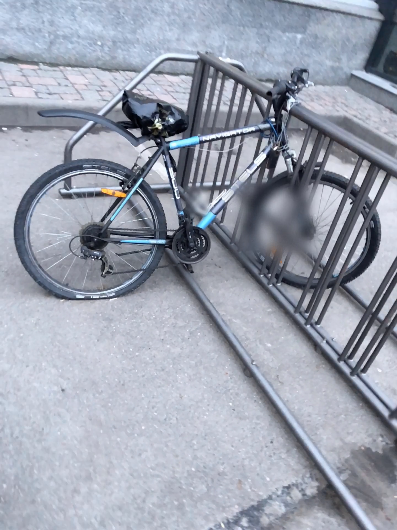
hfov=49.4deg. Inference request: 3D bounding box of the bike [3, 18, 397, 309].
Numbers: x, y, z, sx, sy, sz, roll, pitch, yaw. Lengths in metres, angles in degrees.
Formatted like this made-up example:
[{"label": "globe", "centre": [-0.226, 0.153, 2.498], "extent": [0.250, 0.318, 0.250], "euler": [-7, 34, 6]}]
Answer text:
[{"label": "bike", "centre": [0.023, -0.383, 1.941], "extent": [1.585, 1.051, 0.537], "euler": [2, 37, -10]}]
